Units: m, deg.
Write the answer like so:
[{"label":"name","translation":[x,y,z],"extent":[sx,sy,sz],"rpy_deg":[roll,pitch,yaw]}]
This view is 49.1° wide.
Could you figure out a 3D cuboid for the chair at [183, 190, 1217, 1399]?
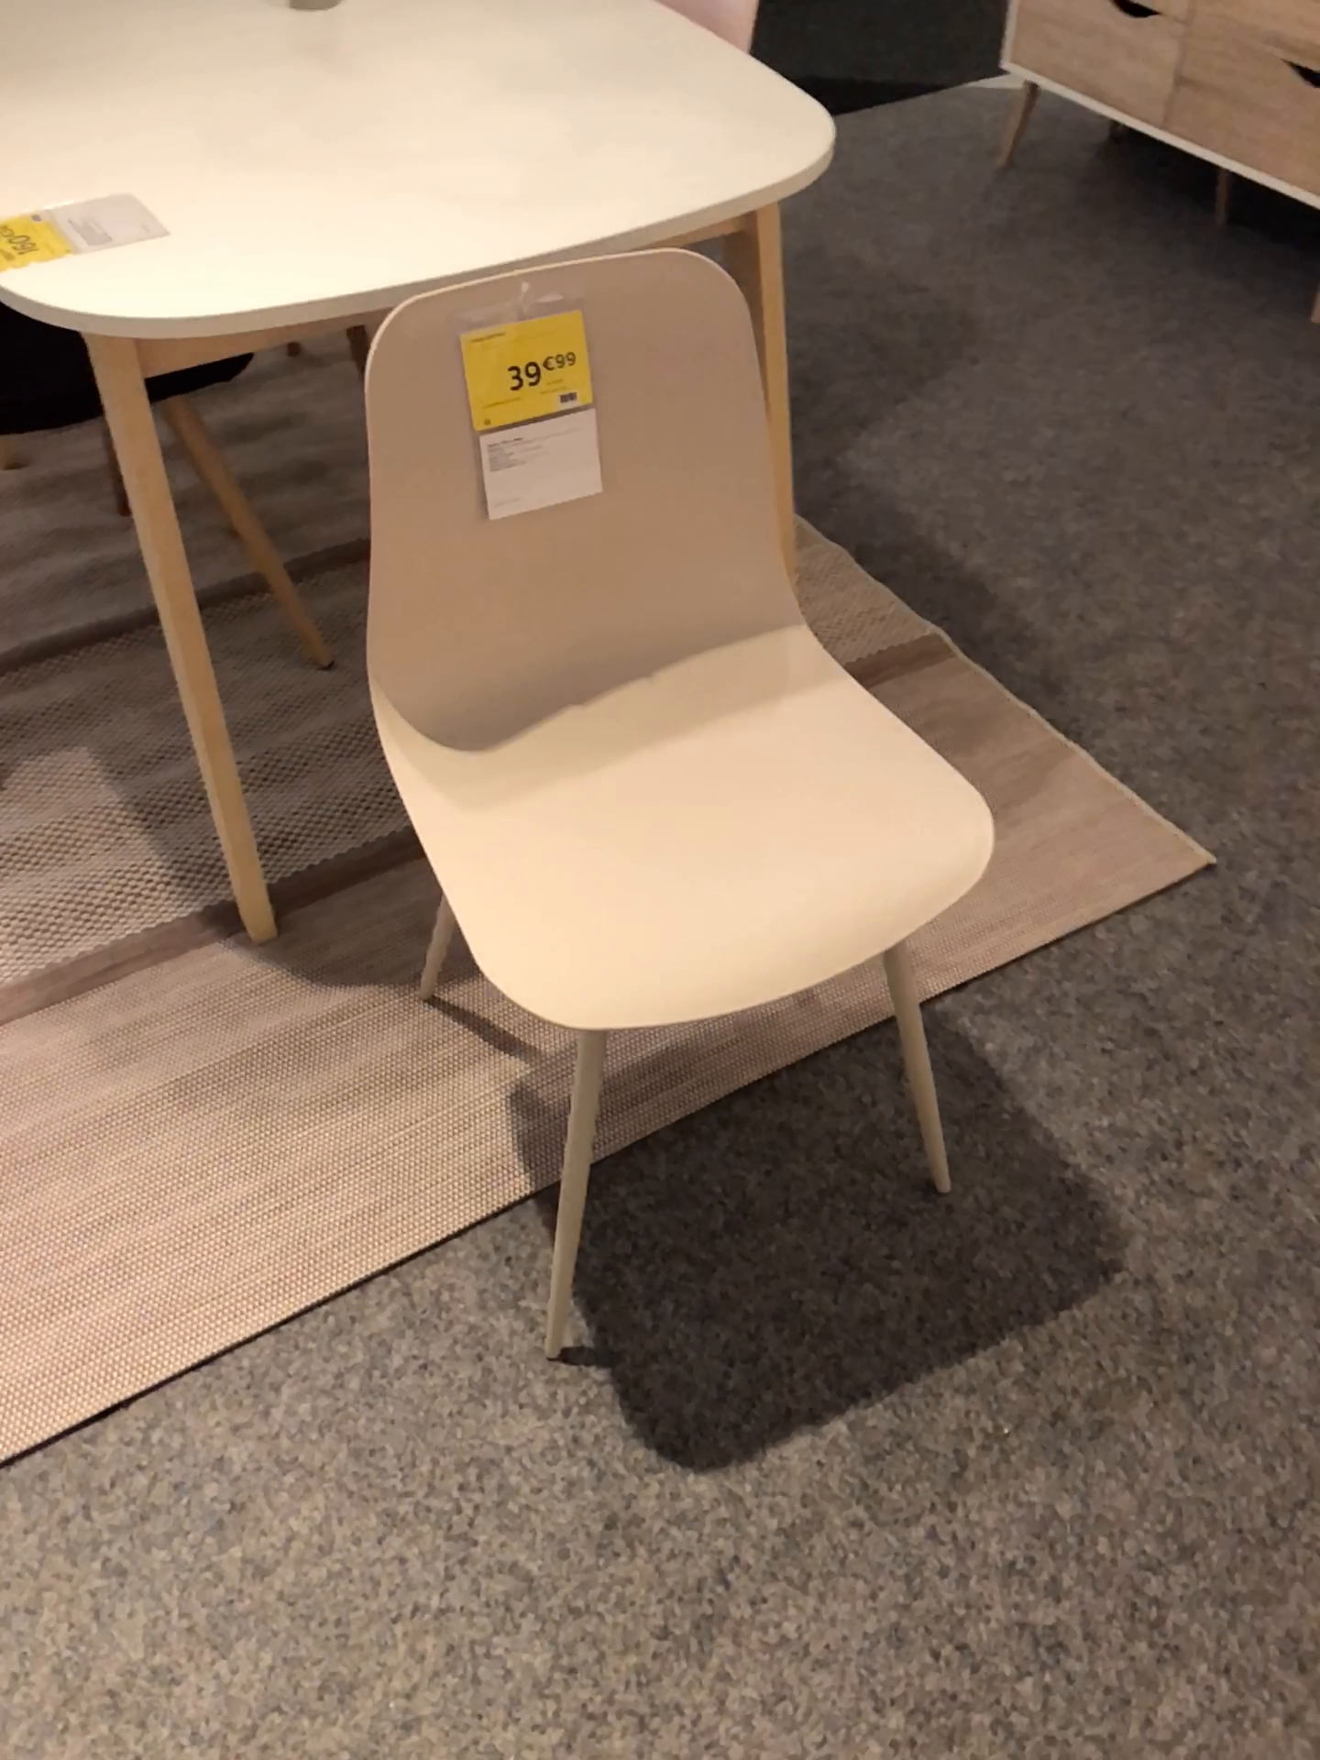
[{"label":"chair","translation":[0.000,-0.057,1.225],"extent":[0.501,0.766,0.501],"rpy_deg":[-21,49,-19]}]
